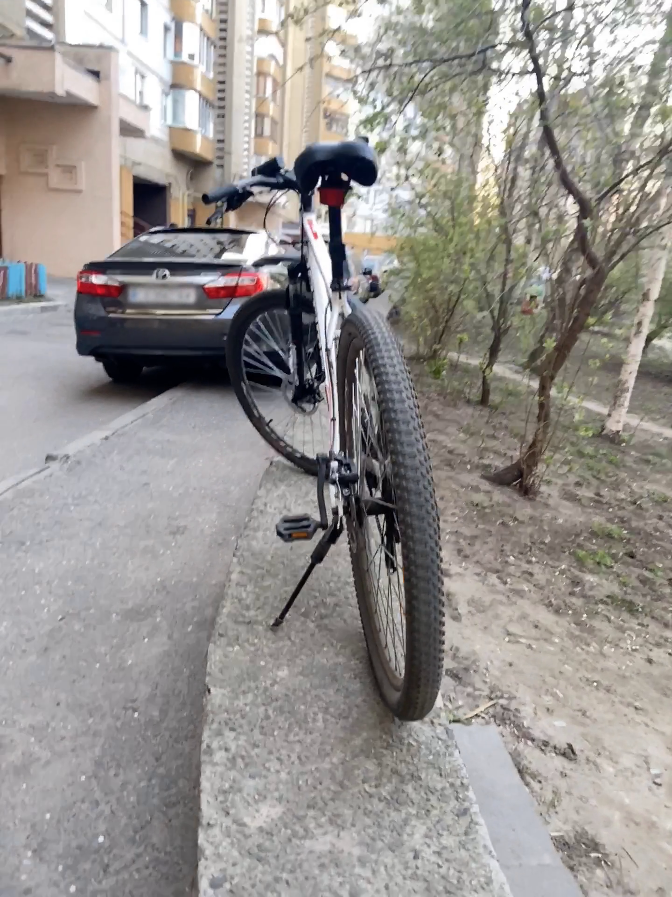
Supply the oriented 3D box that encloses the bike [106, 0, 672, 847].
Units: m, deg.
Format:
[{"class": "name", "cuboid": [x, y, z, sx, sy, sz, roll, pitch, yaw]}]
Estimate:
[{"class": "bike", "cuboid": [-0.165, -0.207, 1.667, 0.678, 1.147, 1.755, 0, 14, -16]}]
